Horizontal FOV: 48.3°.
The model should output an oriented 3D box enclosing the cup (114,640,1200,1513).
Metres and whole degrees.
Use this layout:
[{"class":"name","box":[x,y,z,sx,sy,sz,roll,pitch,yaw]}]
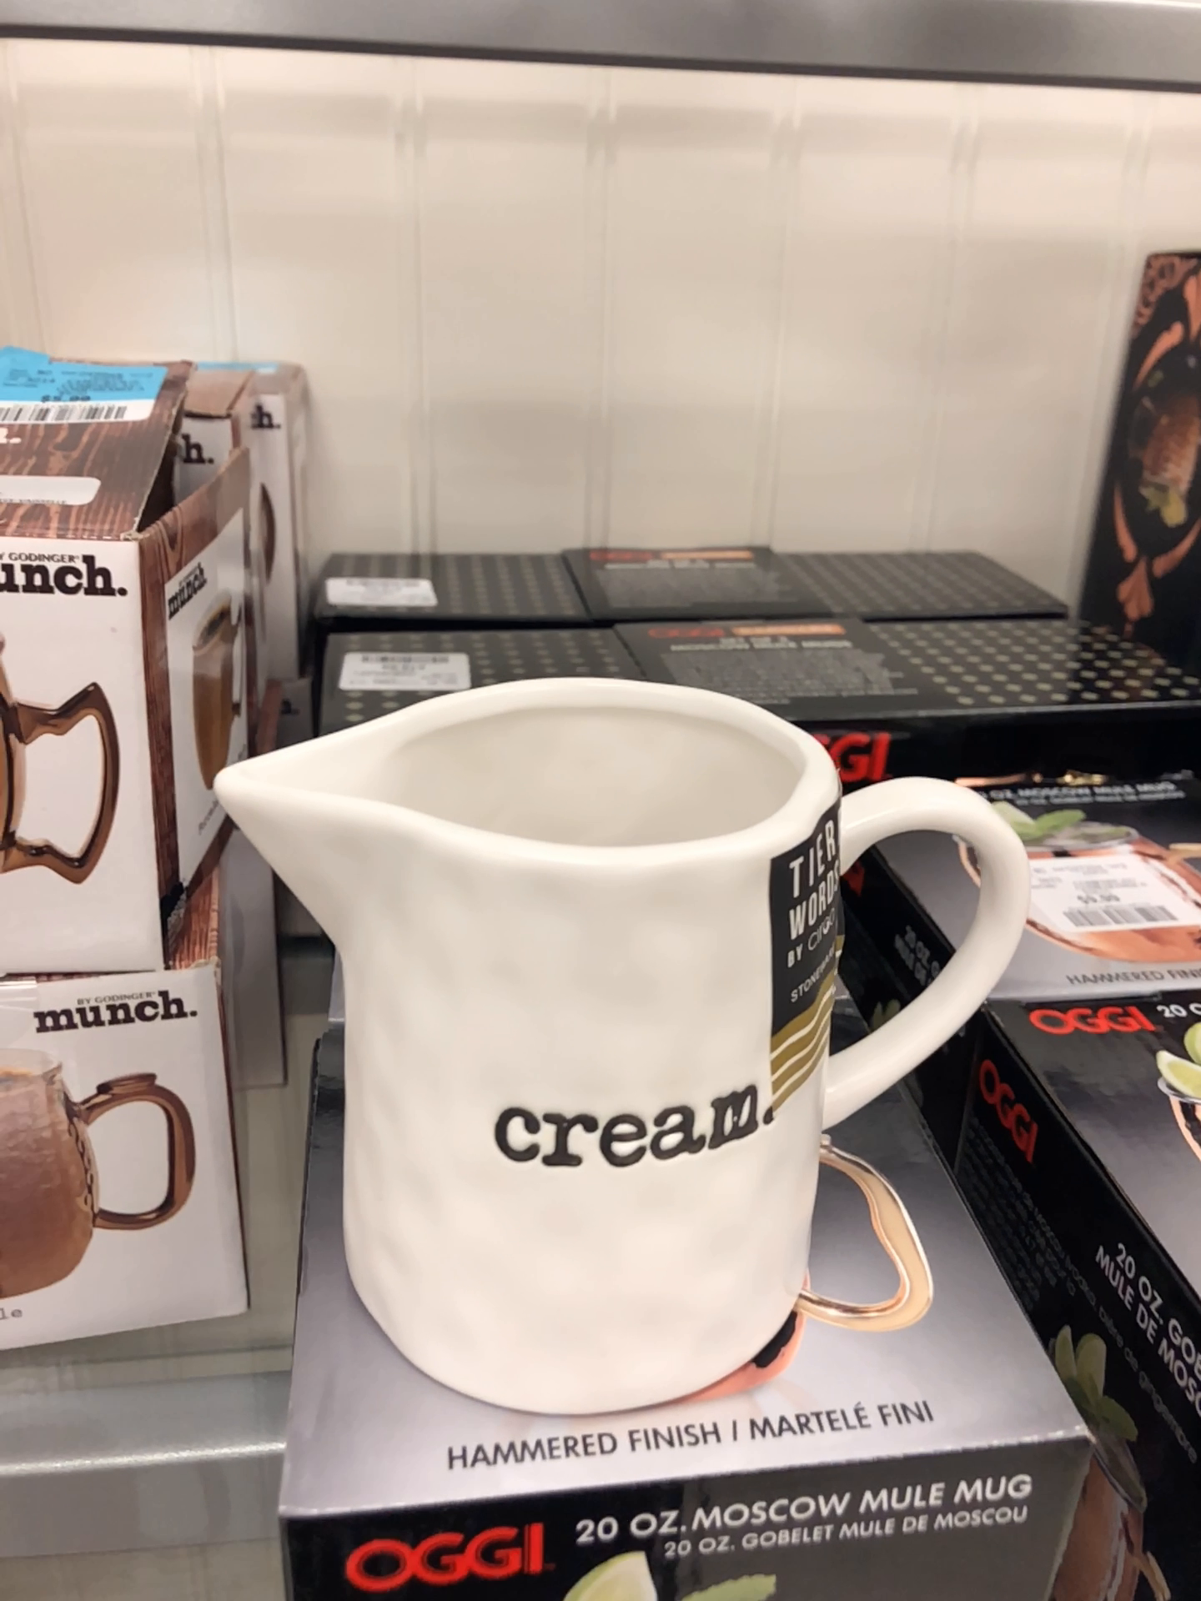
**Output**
[{"class":"cup","box":[0.007,0.029,0.182,0.125,0.080,0.063,-4,25,-13]}]
